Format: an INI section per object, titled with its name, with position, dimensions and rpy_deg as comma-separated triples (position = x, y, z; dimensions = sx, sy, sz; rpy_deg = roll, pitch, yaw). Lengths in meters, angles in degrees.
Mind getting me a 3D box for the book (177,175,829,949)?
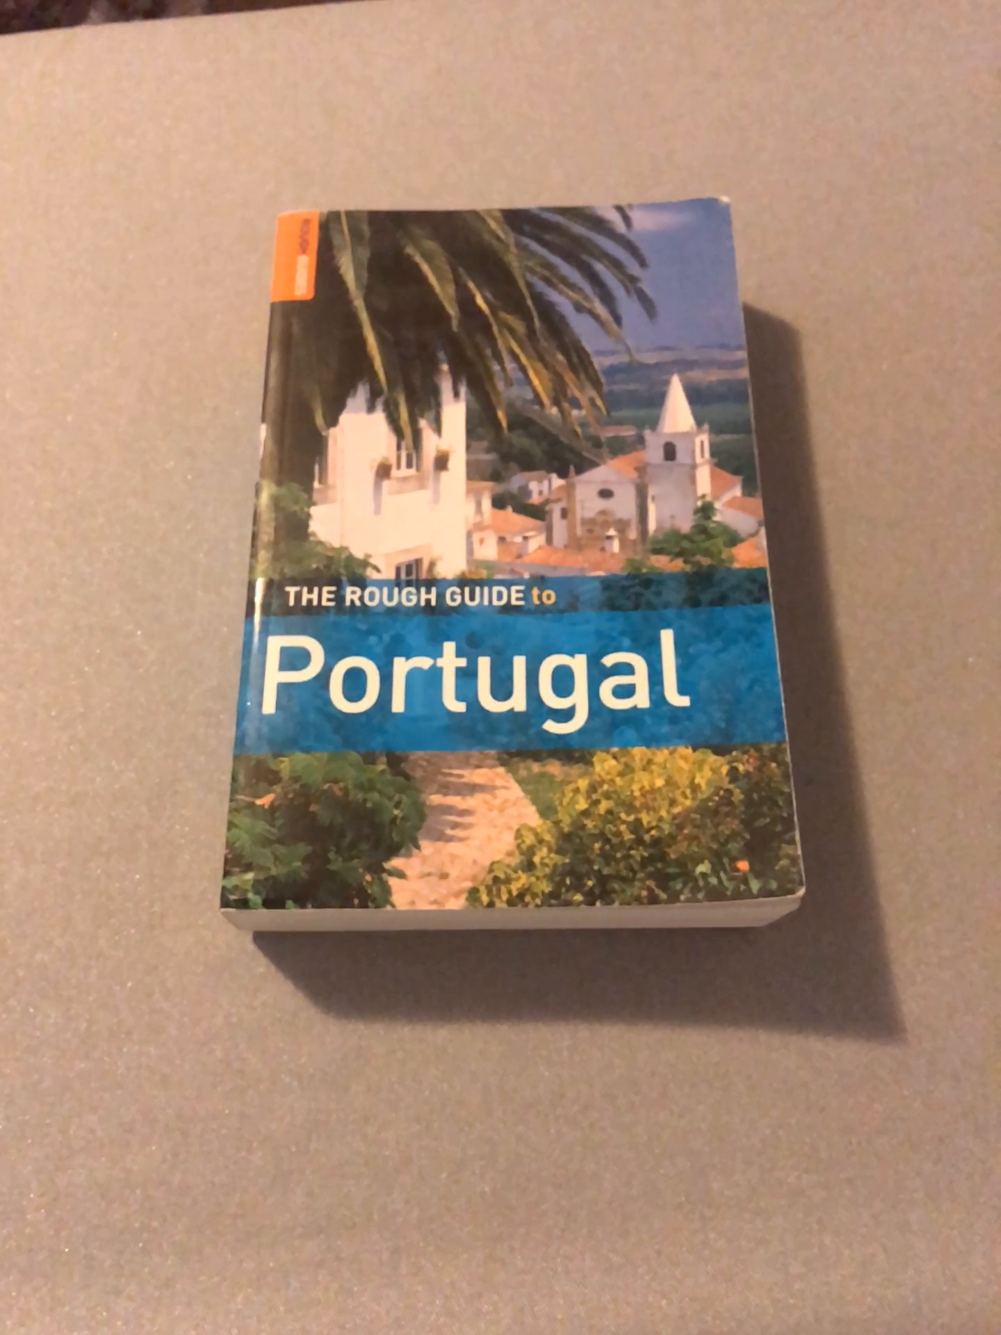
[book]
position = -0.001, -0.034, 0.296
dimensions = 0.139, 0.040, 0.204
rpy_deg = -1, 68, 1
